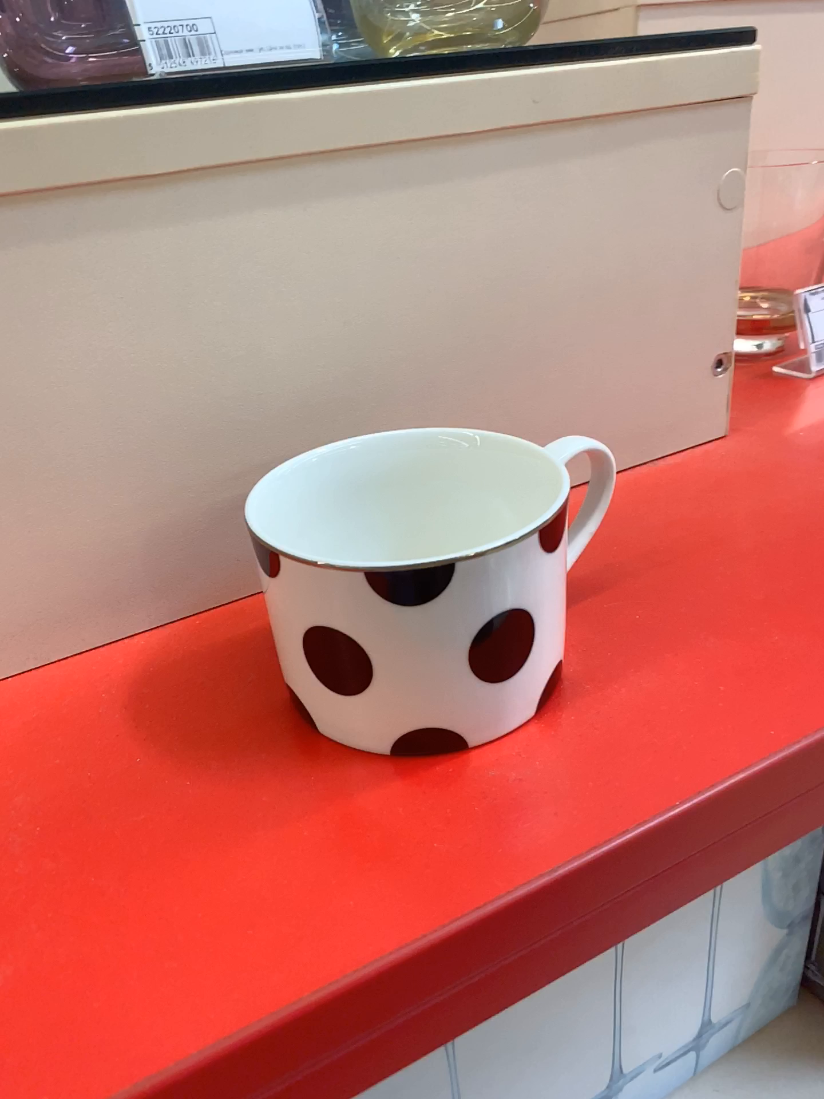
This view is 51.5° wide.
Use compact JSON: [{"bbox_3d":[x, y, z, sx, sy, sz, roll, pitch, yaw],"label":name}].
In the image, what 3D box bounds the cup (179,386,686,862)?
[{"bbox_3d":[0.006,0.010,0.231,0.100,0.070,0.080,-22,31,-27],"label":"cup"}]
